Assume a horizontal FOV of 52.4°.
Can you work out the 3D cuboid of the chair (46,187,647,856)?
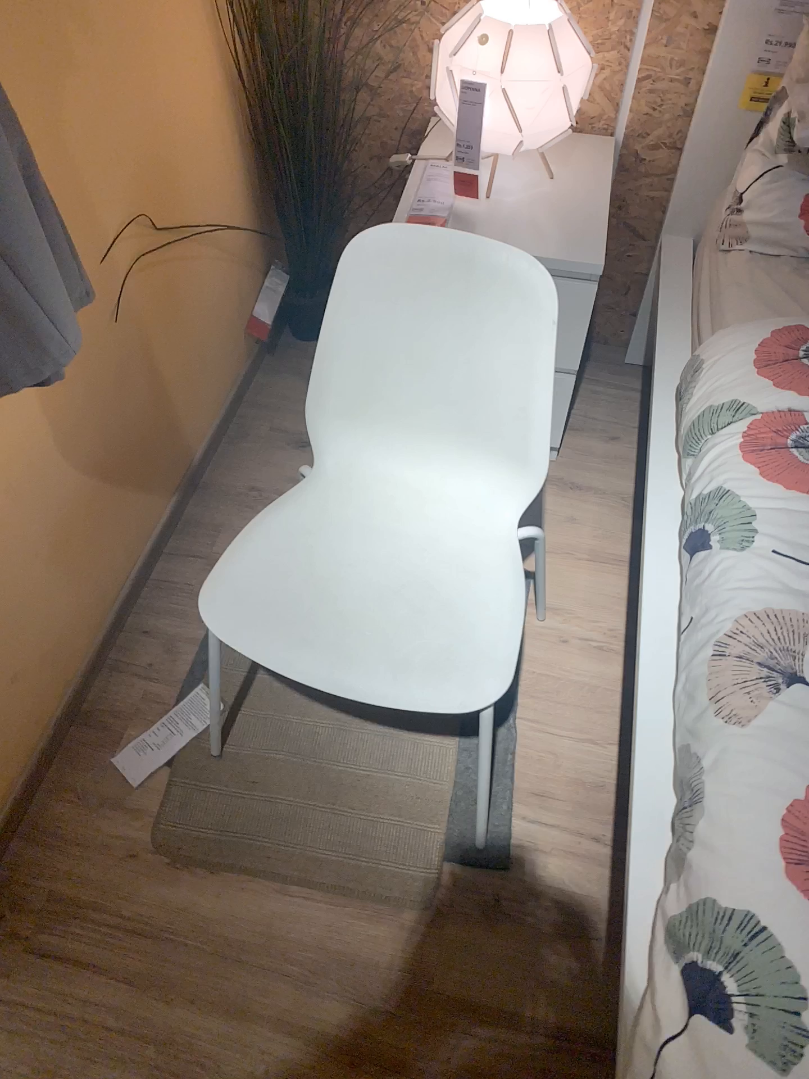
[{"bbox_3d":[-0.029,0.005,1.261,0.540,0.758,0.561,15,53,11],"label":"chair"}]
